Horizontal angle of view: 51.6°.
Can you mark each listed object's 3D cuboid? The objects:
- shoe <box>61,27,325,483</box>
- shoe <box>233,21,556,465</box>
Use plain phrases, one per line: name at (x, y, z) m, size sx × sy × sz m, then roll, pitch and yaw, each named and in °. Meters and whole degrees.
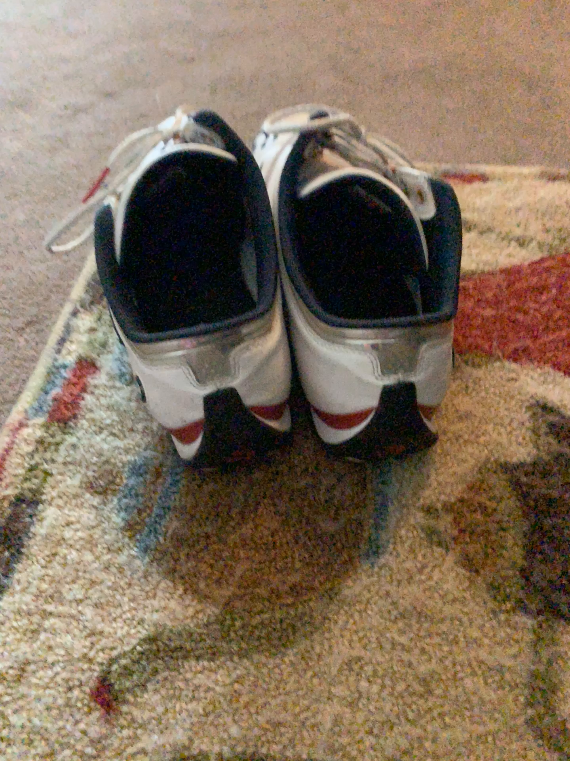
shoe at (-0.055, -0.098, 0.354) m, size 0.100 × 0.099 × 0.292 m, roll -6°, pitch 51°, yaw -5°
shoe at (0.035, -0.104, 0.350) m, size 0.100 × 0.089 × 0.292 m, roll -6°, pitch 51°, yaw -5°
